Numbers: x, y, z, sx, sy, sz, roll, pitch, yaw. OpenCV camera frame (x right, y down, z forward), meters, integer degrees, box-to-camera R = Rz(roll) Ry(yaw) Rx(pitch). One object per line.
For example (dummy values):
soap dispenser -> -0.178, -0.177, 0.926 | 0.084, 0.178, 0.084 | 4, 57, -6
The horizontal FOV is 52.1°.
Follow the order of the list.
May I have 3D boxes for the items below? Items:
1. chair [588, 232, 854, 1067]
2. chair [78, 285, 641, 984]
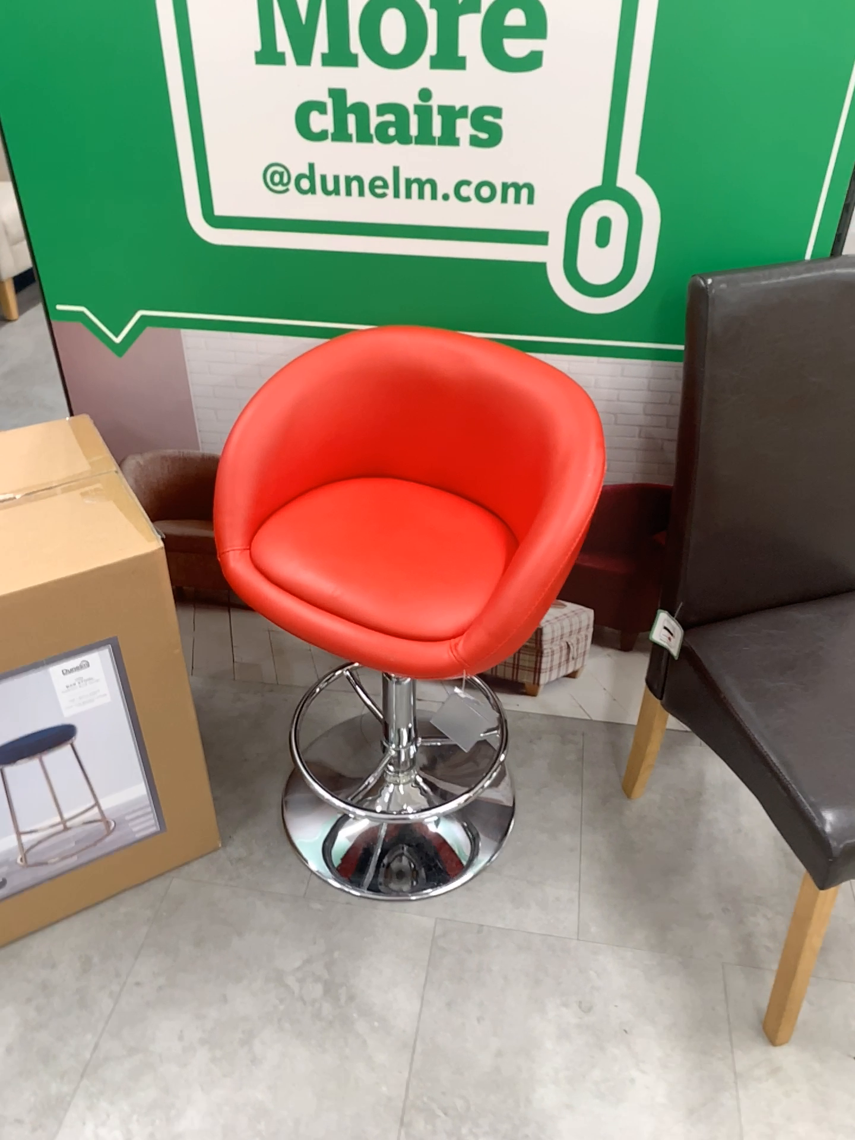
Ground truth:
chair -> 0.581, 0.111, 1.171 | 0.445, 0.919, 0.522 | -10, 37, -14
chair -> -0.062, 0.073, 1.276 | 0.496, 0.761, 0.481 | 19, 40, 25
